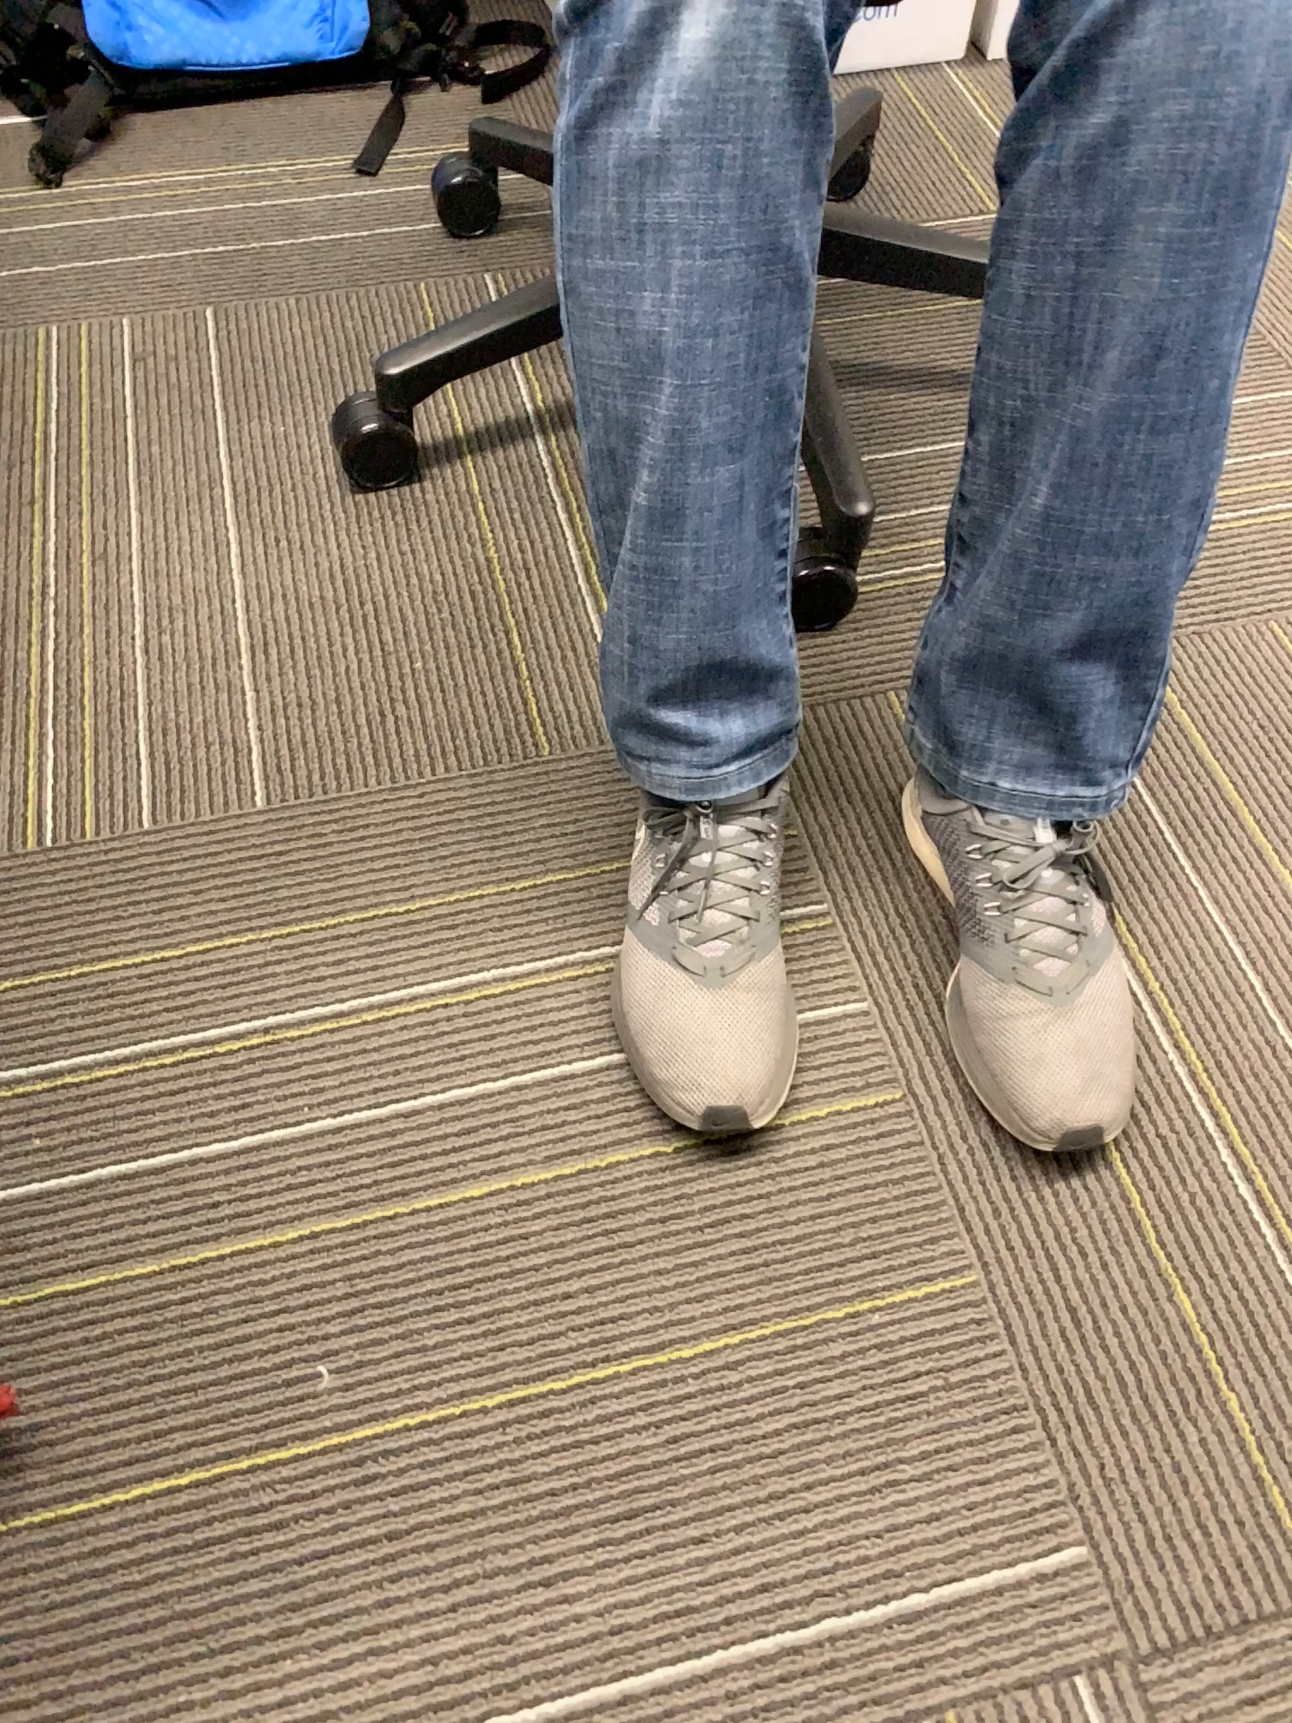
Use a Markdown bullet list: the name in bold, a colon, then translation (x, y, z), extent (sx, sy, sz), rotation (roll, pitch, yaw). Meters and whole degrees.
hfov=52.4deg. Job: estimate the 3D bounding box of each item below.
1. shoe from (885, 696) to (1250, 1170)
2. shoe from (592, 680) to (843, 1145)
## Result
- **shoe**: translation (0.245, 0.034, 0.811), extent (0.124, 0.078, 0.287), rotation (-4, 54, -4)
- **shoe**: translation (0.042, 0.022, 0.805), extent (0.132, 0.078, 0.285), rotation (2, 54, 1)
